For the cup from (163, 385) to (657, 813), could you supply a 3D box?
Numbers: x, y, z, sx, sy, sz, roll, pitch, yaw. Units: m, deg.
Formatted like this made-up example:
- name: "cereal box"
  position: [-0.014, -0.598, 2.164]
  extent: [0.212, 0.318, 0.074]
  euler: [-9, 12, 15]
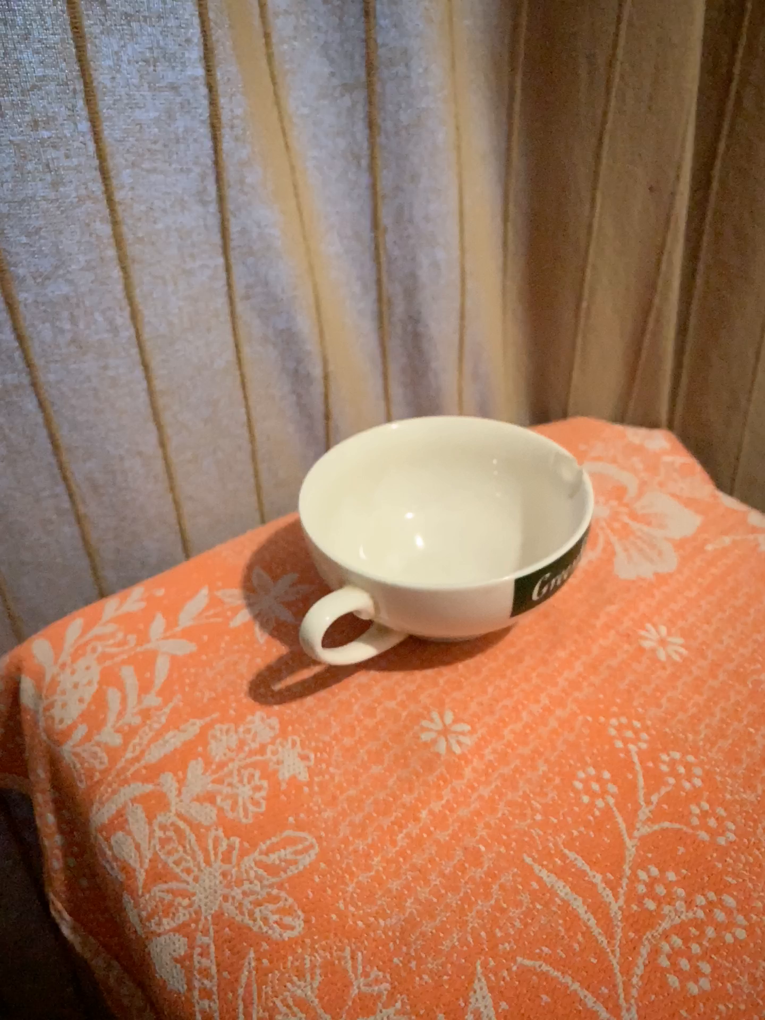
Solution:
- name: "cup"
  position: [0.014, 0.017, 0.297]
  extent: [0.114, 0.056, 0.137]
  euler: [24, 41, 32]
